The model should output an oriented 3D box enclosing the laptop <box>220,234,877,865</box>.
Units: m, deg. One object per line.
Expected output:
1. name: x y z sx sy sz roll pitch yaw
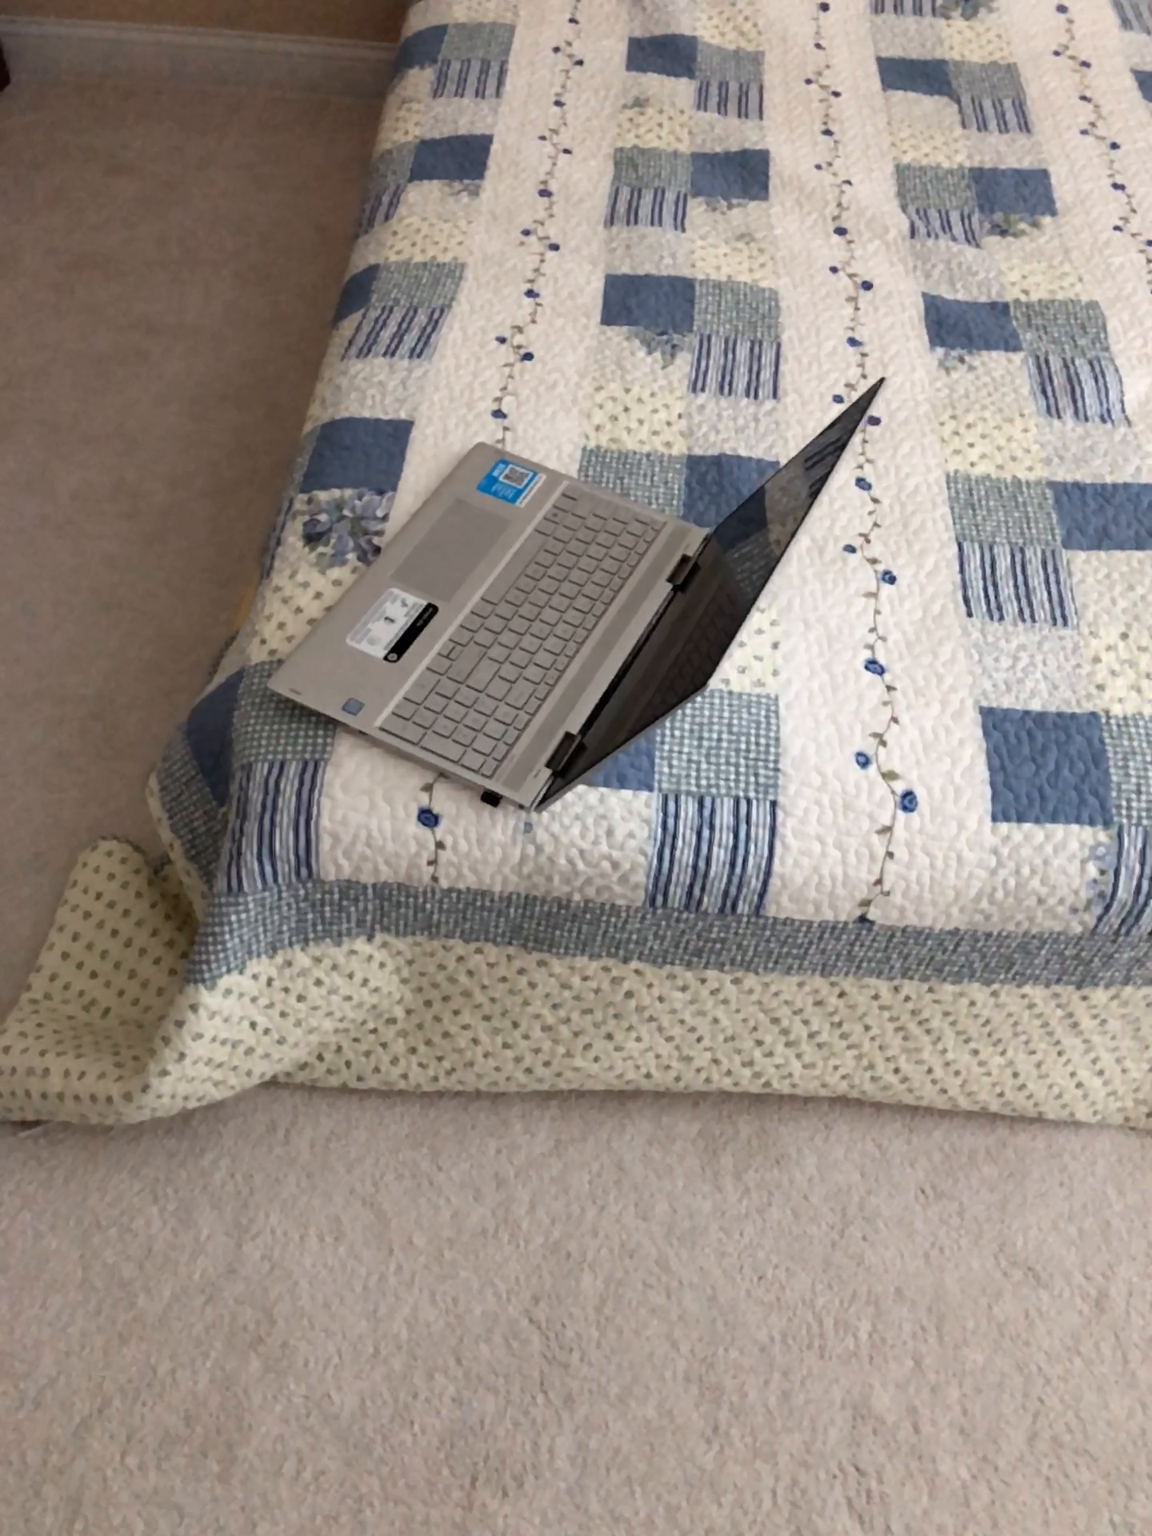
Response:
1. laptop: -0.009 -0.188 1.006 0.358 0.208 0.356 24 54 13
